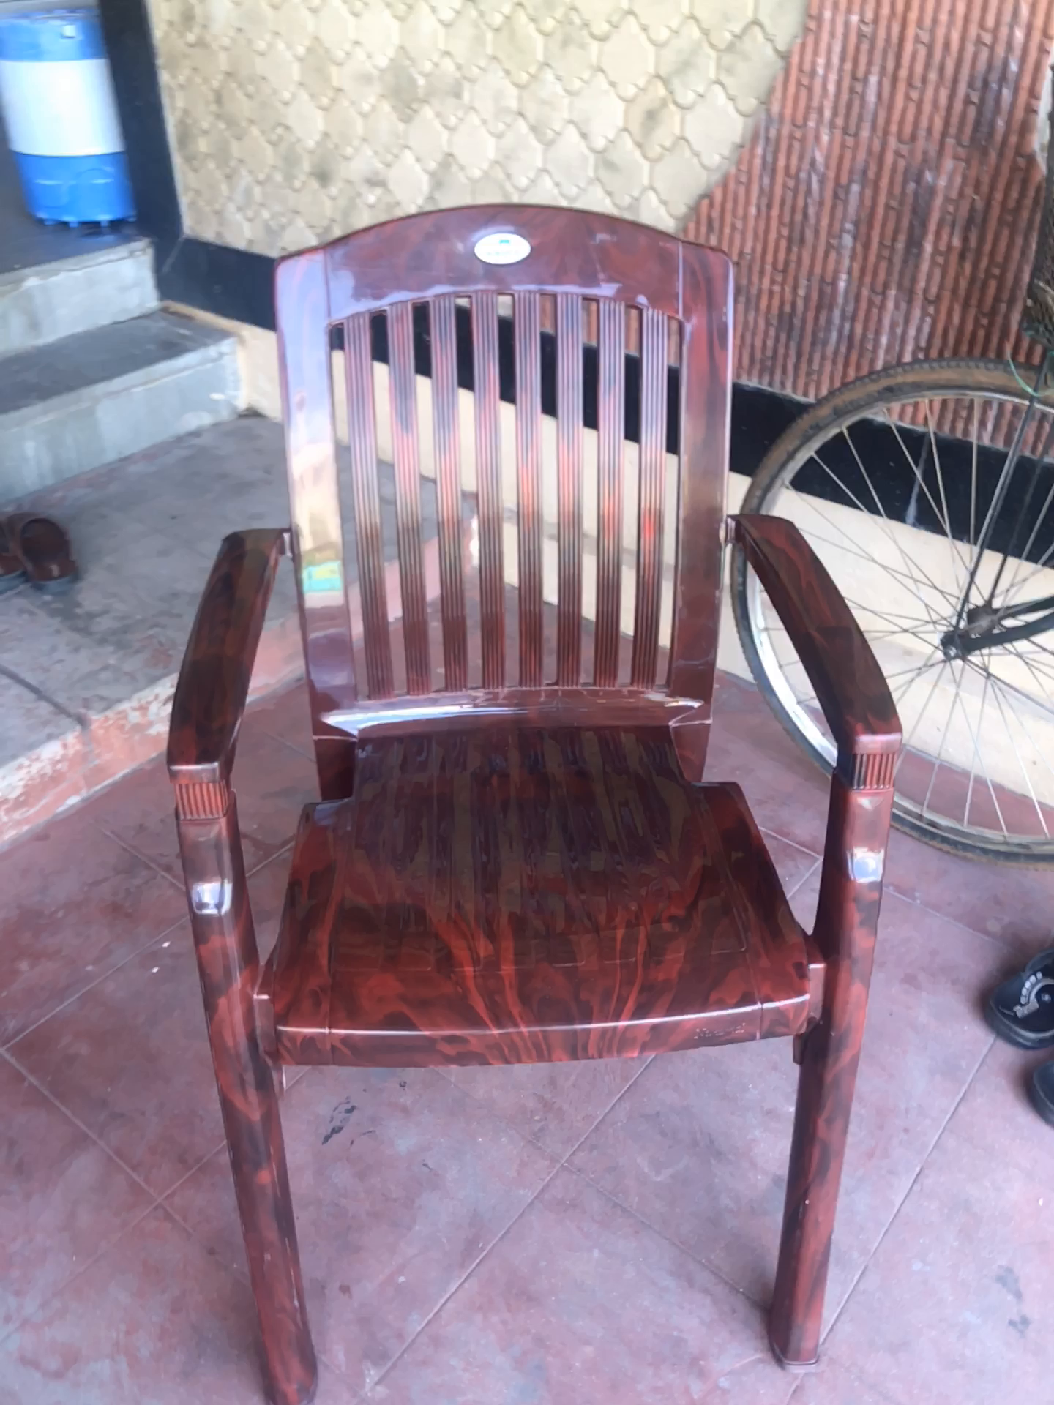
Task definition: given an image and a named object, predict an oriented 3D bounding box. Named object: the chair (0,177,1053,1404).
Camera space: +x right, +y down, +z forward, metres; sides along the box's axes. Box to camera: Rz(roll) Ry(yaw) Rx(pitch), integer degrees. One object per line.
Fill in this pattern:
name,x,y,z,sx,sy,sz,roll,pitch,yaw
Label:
chair,0.000,0.060,1.042,0.590,0.846,0.704,-2,35,-2
